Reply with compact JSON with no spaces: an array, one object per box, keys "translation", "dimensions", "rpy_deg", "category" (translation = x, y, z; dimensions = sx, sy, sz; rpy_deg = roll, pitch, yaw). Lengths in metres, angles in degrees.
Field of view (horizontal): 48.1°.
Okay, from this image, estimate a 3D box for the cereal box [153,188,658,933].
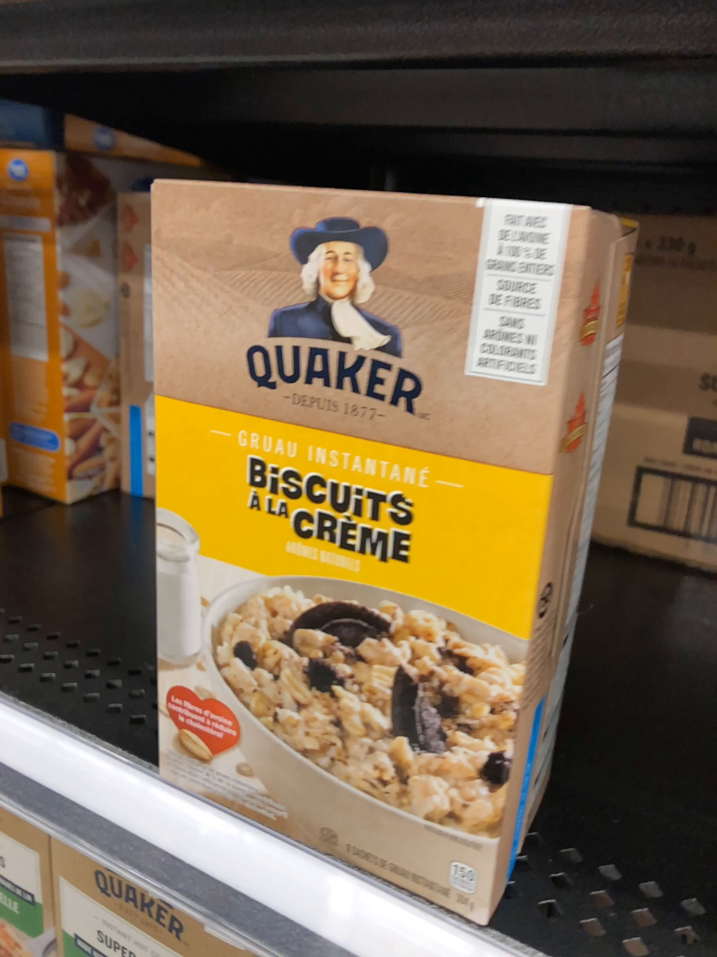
[{"translation":[0.009,0.013,0.255],"dimensions":[0.120,0.189,0.080],"rpy_deg":[13,19,26],"category":"cereal box"}]
